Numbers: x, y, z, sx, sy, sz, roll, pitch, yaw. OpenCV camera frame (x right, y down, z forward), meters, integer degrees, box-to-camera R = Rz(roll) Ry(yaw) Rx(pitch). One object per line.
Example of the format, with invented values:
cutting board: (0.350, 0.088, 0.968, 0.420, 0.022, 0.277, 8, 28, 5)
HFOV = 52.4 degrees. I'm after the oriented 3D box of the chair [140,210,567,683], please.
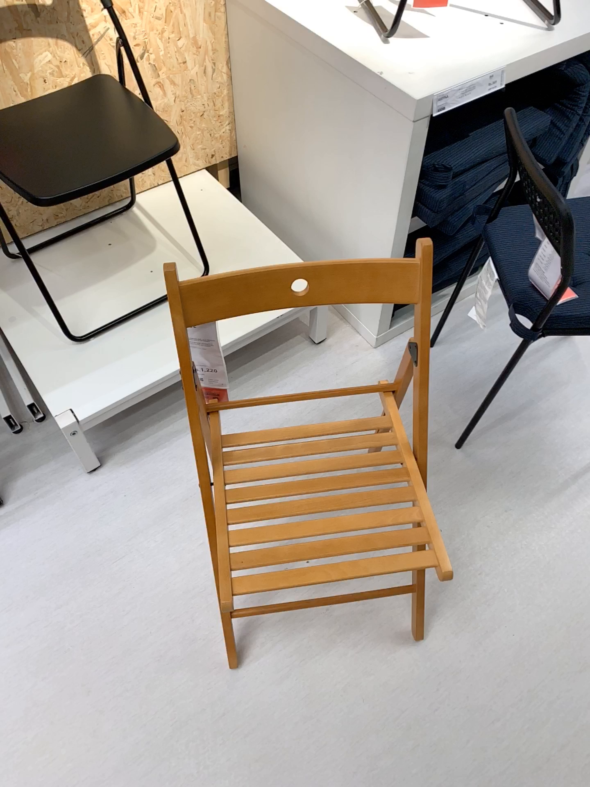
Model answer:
chair: (0.034, 0.138, 1.147, 0.510, 0.698, 0.561, -7, 54, -5)
